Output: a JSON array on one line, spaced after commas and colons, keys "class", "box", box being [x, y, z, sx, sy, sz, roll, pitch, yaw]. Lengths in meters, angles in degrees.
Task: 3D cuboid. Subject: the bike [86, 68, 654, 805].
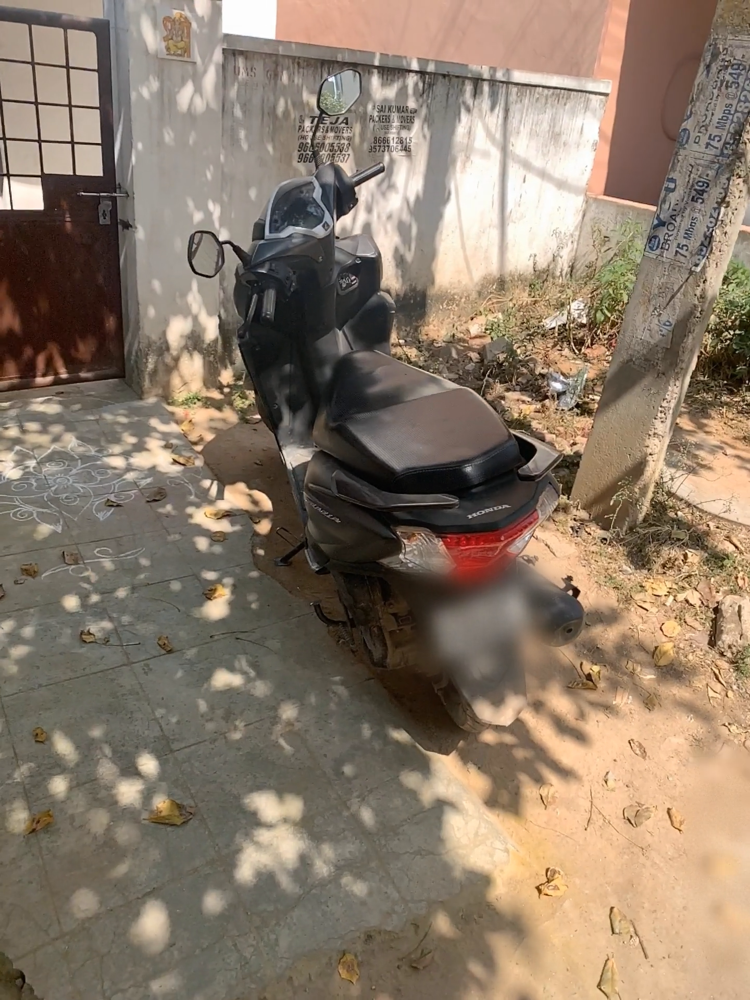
[{"class": "bike", "box": [-0.229, -0.307, 1.991, 0.607, 1.176, 1.513, -9, 35, -27]}]
